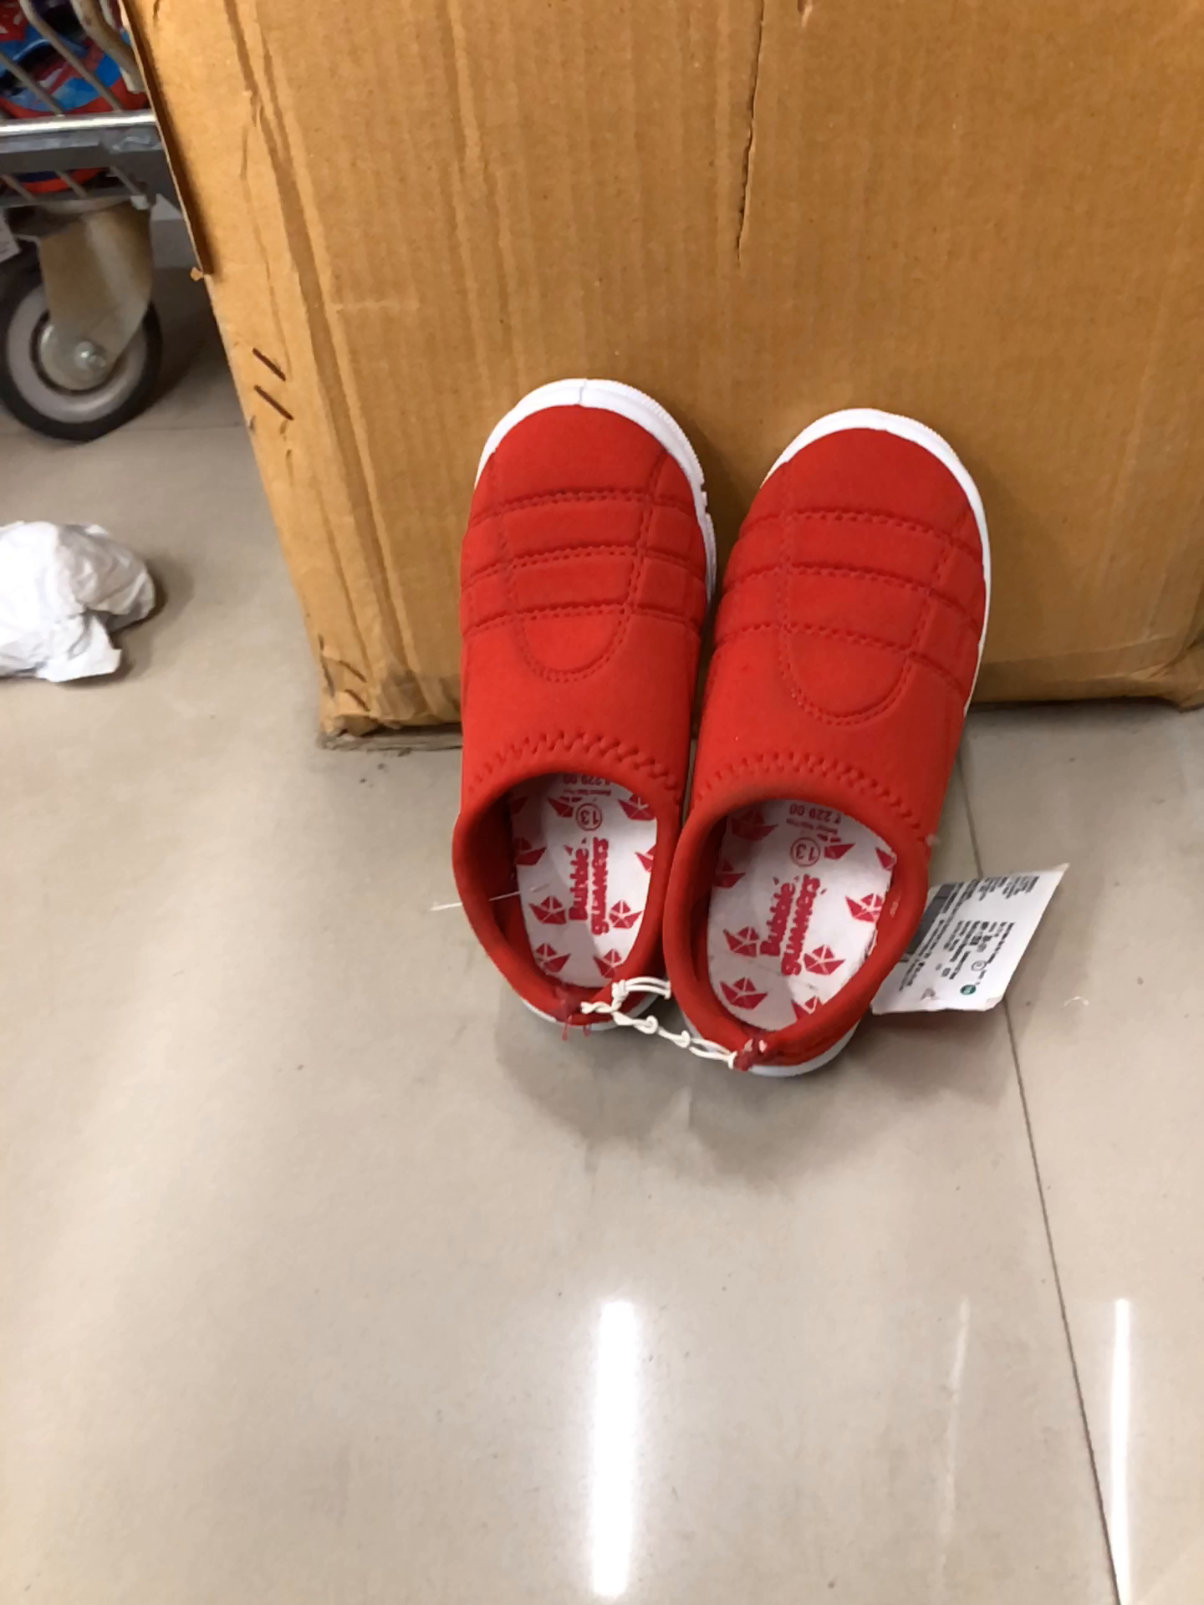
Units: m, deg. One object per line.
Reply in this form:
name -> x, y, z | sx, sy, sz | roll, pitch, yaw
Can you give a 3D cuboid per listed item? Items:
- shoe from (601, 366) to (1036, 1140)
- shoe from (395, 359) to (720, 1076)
shoe -> 0.069, -0.018, 0.416 | 0.084, 0.208, 0.081 | 12, 11, 18
shoe -> -0.008, -0.028, 0.423 | 0.084, 0.204, 0.082 | 1, 12, 8
